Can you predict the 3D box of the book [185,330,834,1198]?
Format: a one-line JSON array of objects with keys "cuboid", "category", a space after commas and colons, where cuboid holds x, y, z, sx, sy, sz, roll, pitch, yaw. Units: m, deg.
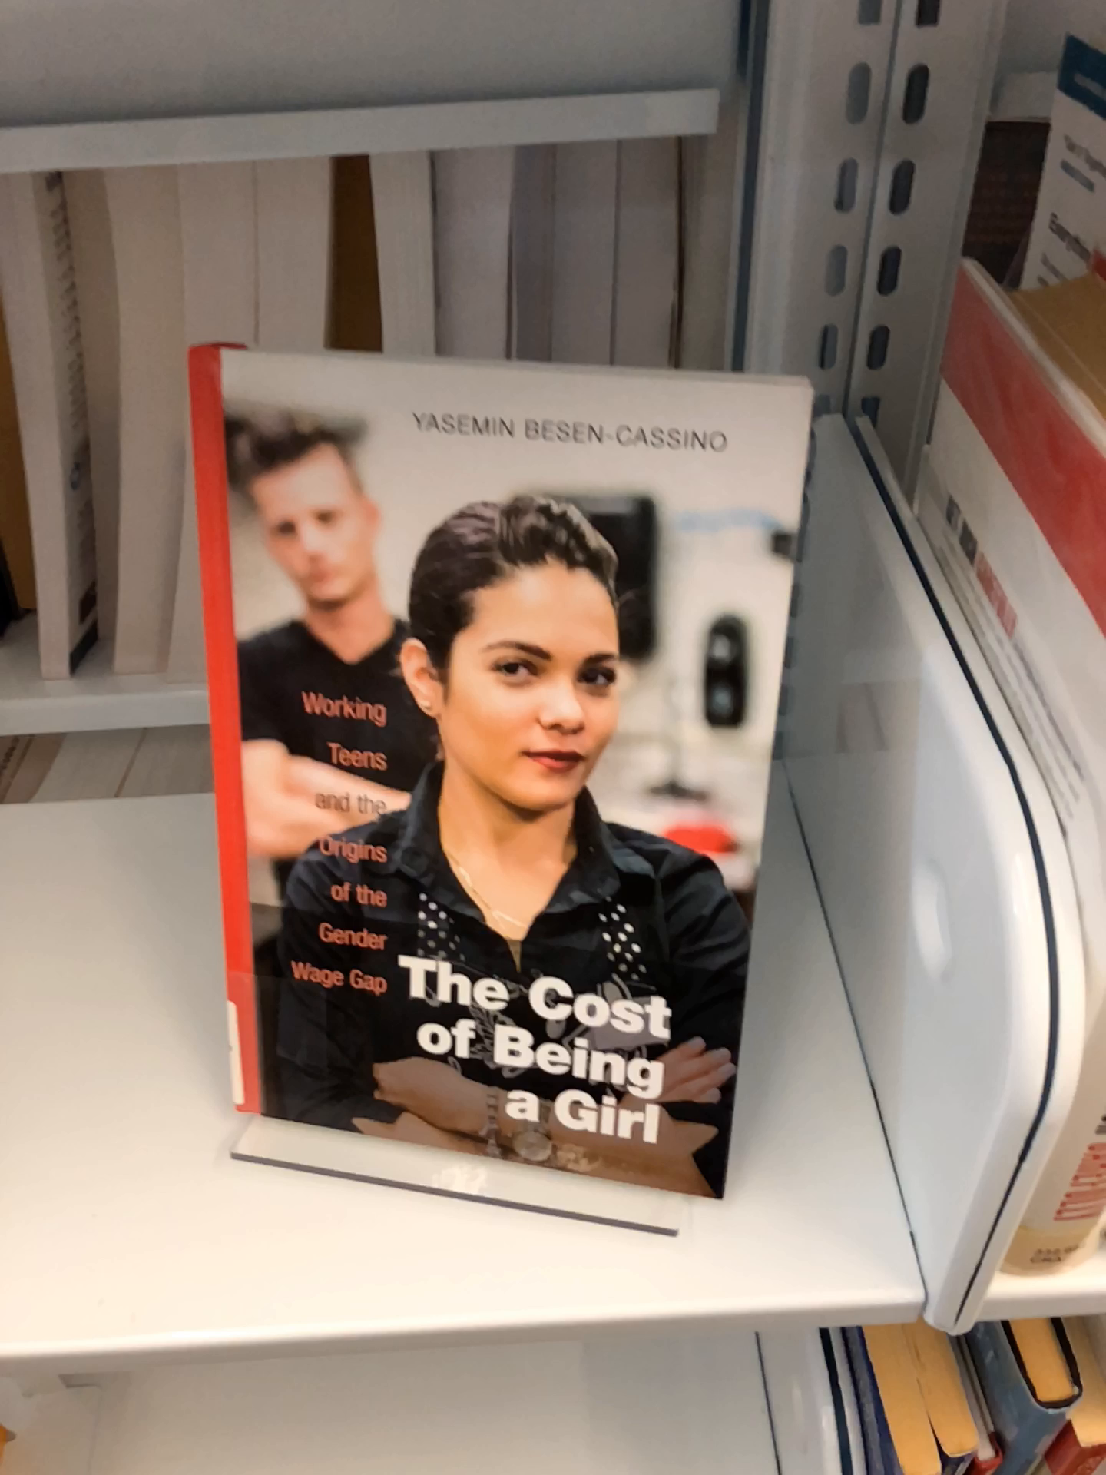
[{"cuboid": [-0.015, 0.011, 0.340, 0.156, 0.230, 0.030, 6, 21, 11], "category": "book"}]
